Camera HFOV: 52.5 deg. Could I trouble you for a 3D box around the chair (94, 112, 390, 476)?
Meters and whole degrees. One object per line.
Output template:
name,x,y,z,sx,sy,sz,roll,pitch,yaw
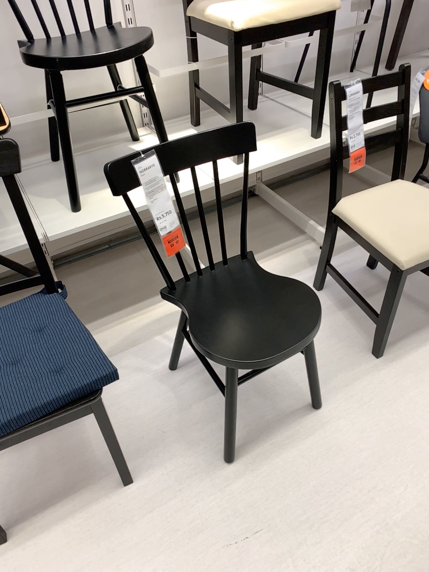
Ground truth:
chair,0.054,0.025,1.259,0.470,0.787,0.522,-23,45,-20
